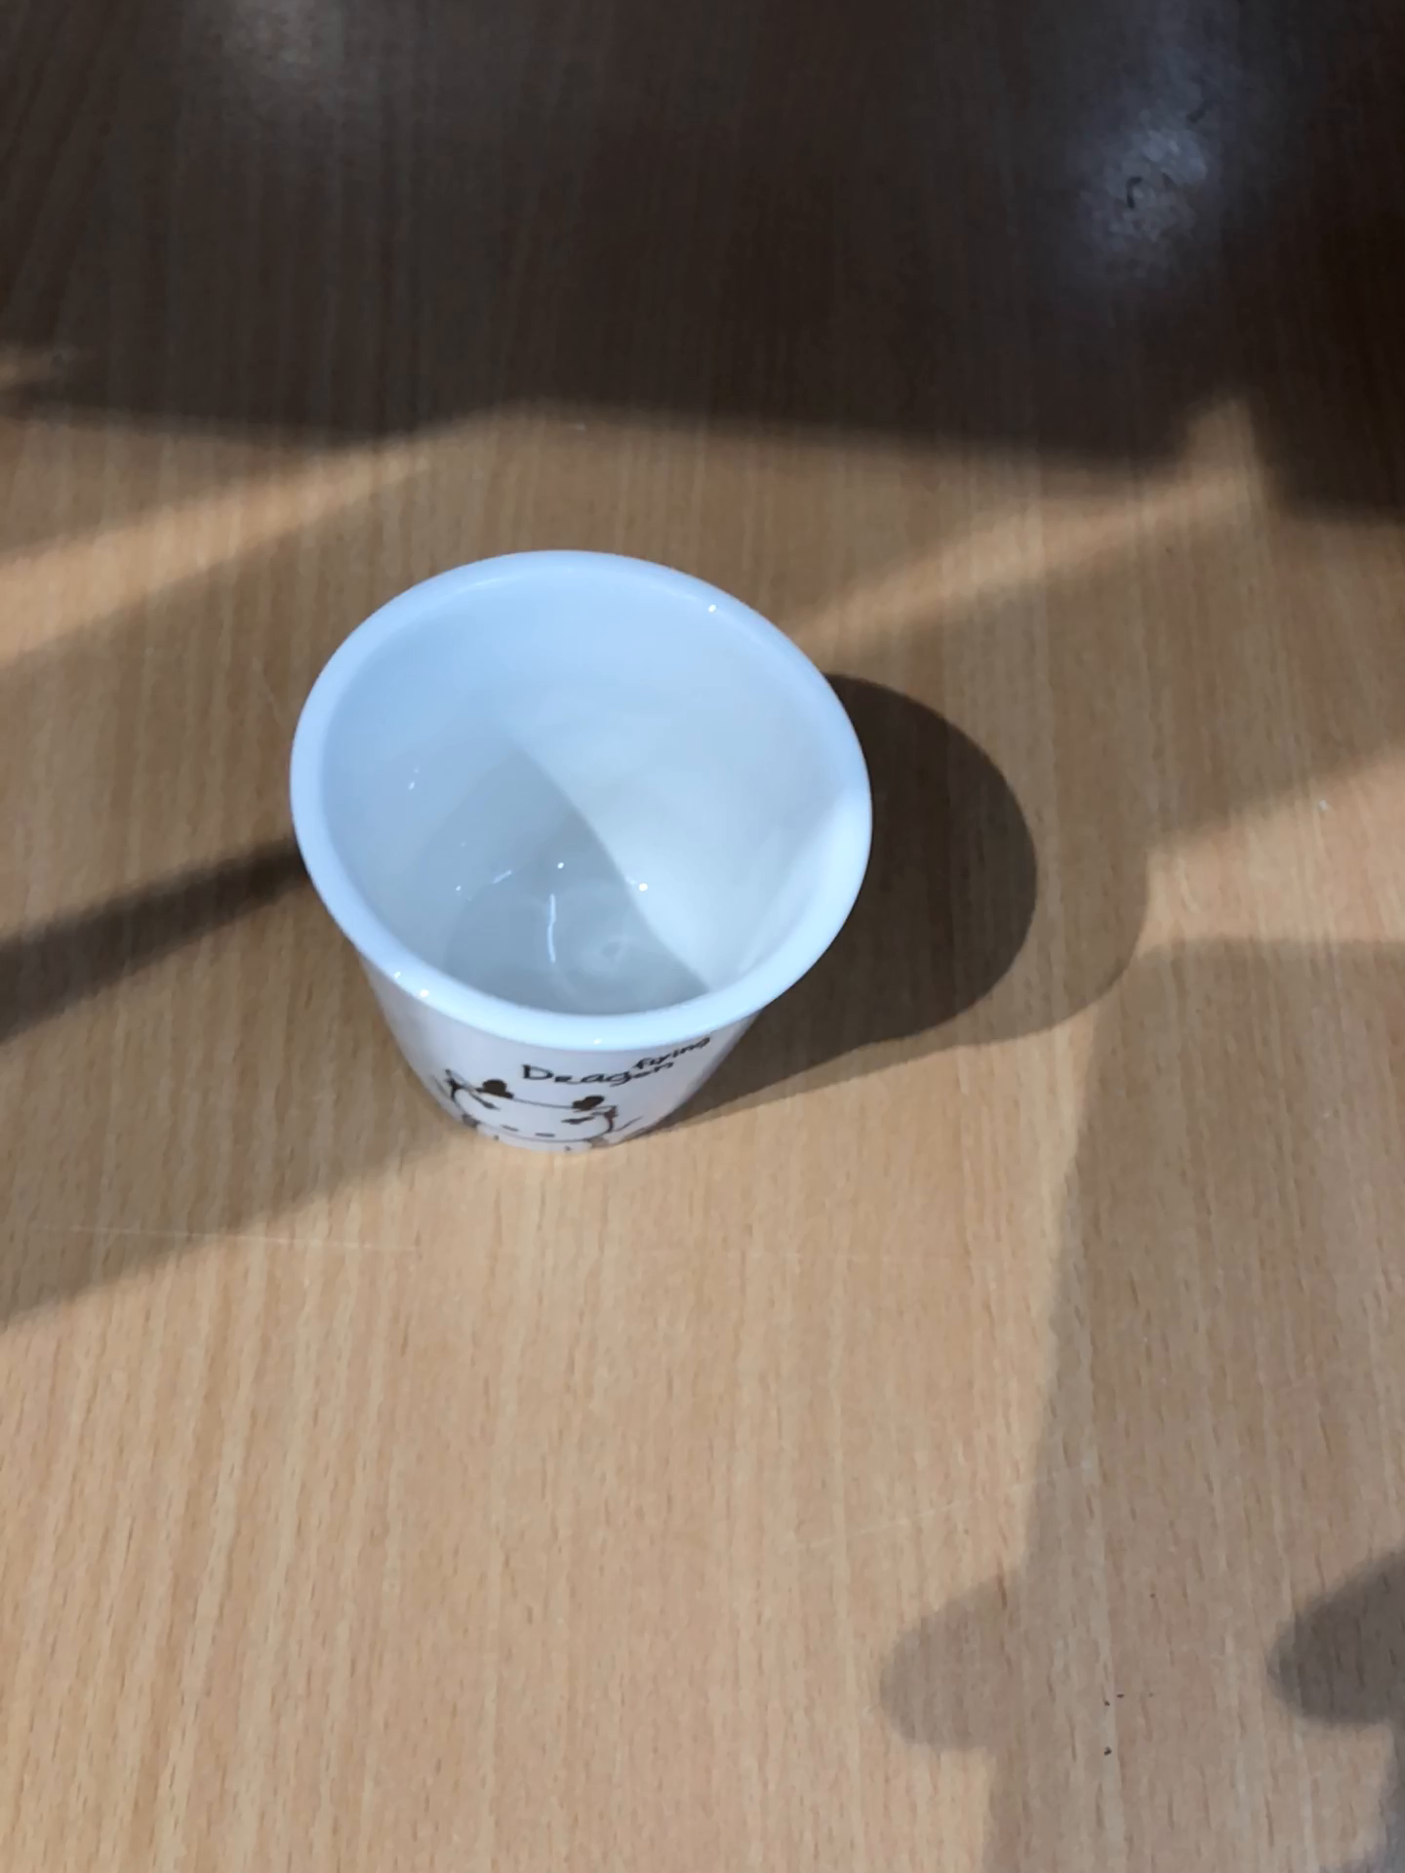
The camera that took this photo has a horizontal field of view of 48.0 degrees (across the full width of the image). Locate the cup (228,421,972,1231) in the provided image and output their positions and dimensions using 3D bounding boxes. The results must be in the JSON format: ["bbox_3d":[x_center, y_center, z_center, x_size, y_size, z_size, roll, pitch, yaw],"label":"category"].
[{"bbox_3d":[-0.011,-0.012,0.215,0.080,0.060,0.080,4,62,-7],"label":"cup"}]
